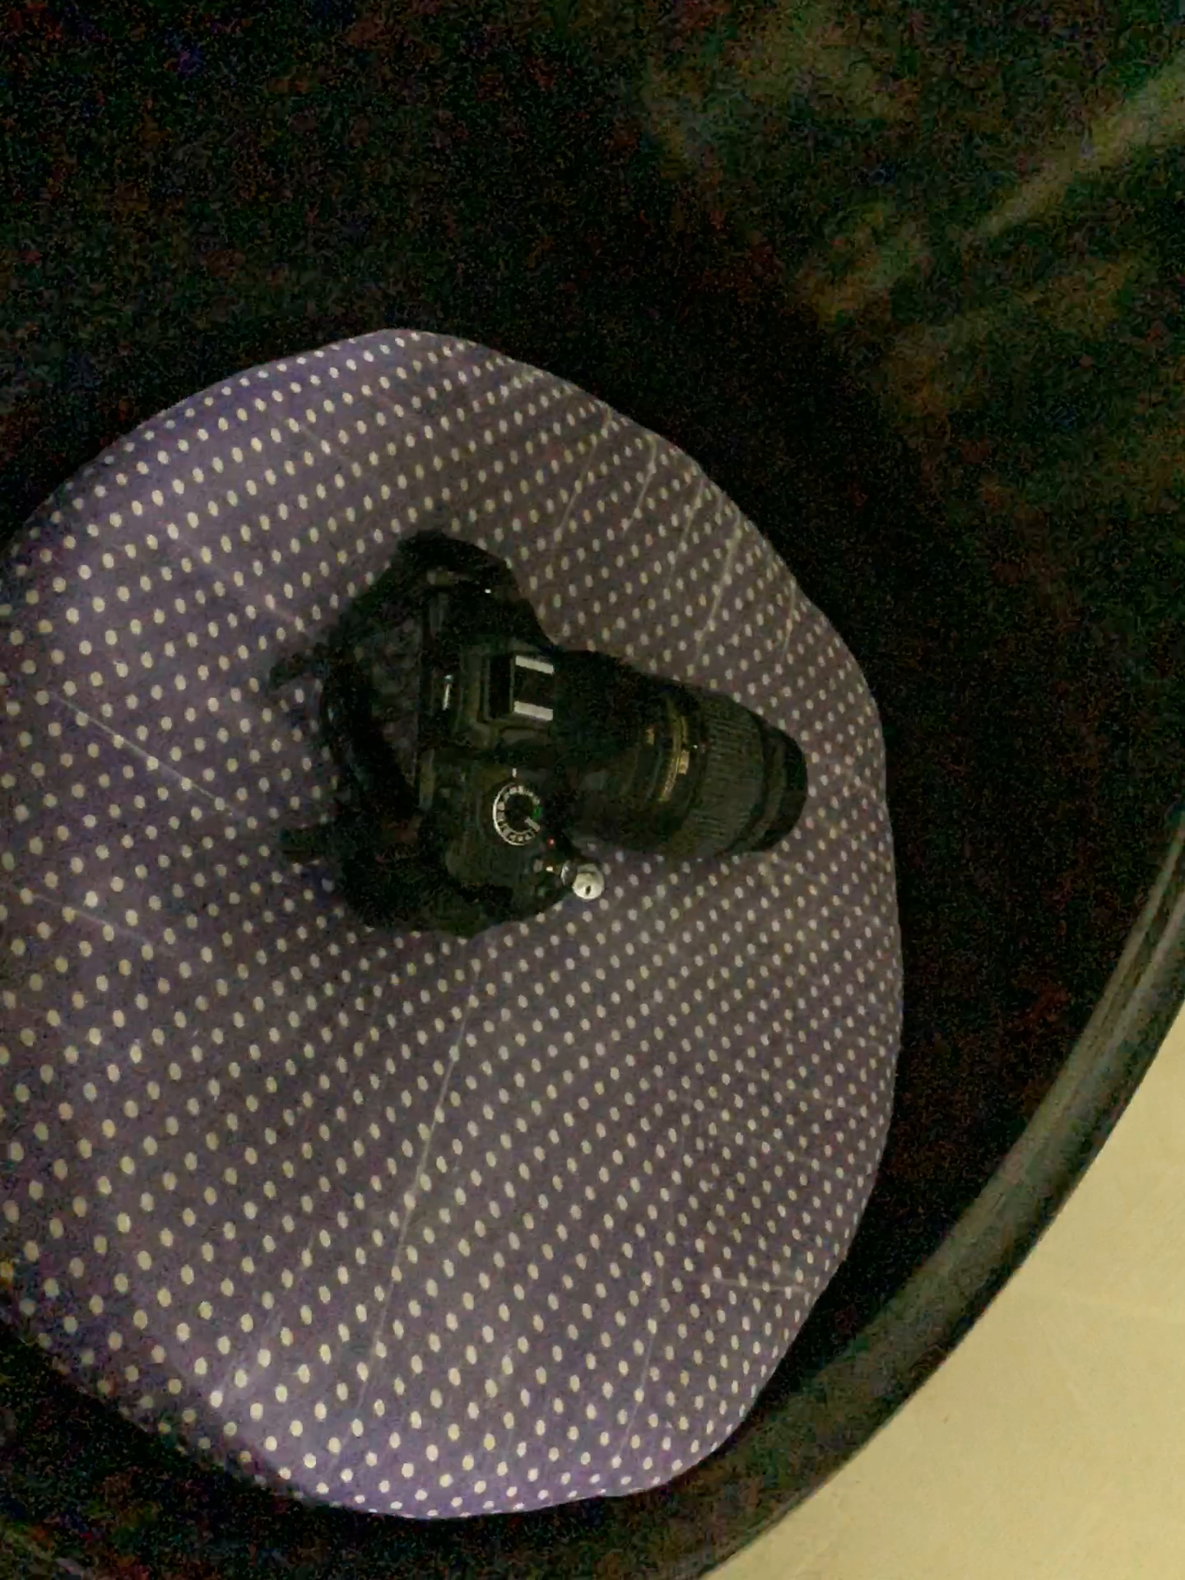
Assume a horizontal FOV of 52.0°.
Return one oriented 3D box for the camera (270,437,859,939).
[{"bbox_3d":[-0.005,-0.021,0.465,0.201,0.100,0.140,9,74,-40],"label":"camera"}]
